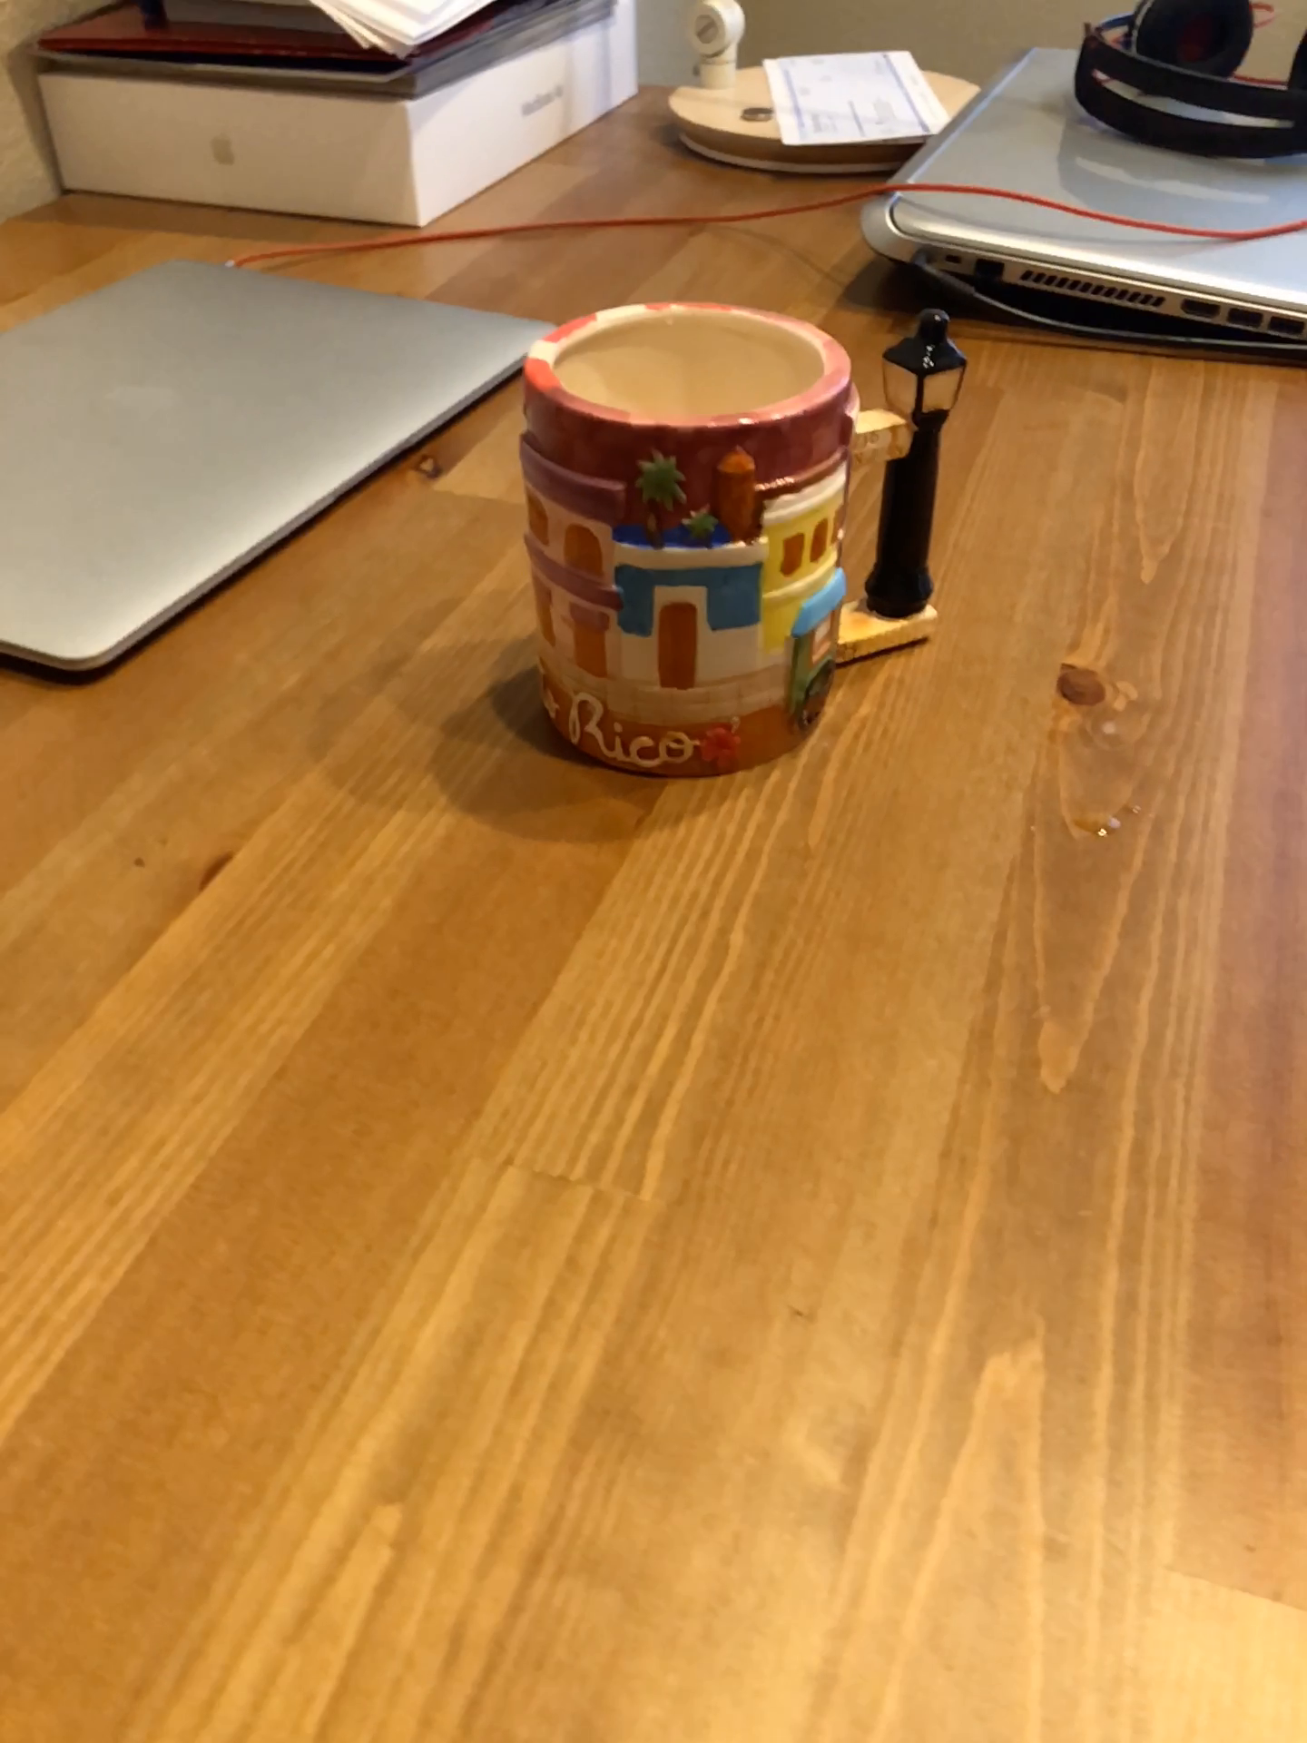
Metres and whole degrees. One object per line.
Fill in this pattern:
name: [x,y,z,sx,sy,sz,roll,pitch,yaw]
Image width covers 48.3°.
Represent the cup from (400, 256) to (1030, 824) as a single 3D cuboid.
cup: [0.017,-0.095,0.393,0.130,0.090,0.090,-28,46,-29]
